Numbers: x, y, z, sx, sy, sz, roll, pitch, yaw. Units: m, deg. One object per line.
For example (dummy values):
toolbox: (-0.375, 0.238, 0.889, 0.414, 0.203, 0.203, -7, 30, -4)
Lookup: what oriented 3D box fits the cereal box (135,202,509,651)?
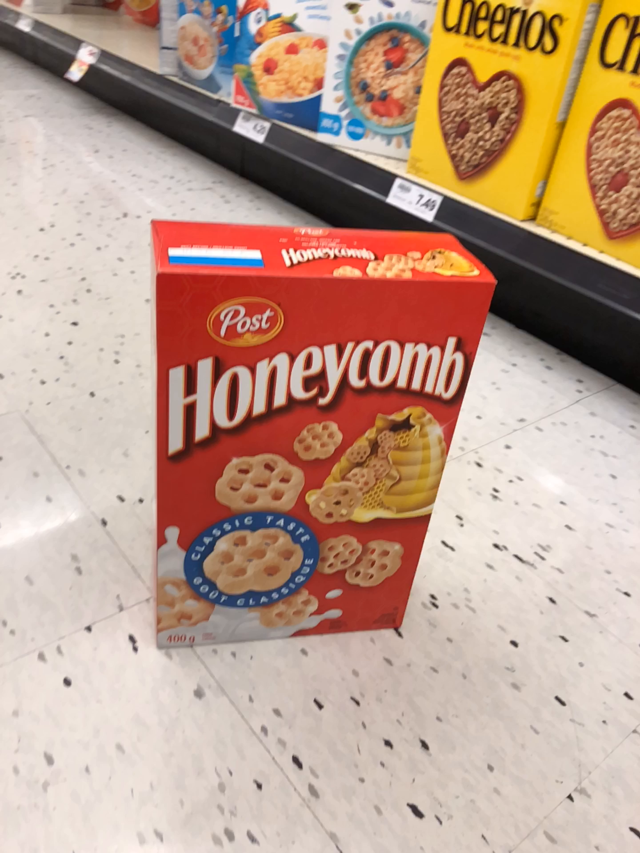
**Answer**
cereal box: (-0.020, 0.015, 0.480, 0.200, 0.298, 0.080, 0, 35, -14)
